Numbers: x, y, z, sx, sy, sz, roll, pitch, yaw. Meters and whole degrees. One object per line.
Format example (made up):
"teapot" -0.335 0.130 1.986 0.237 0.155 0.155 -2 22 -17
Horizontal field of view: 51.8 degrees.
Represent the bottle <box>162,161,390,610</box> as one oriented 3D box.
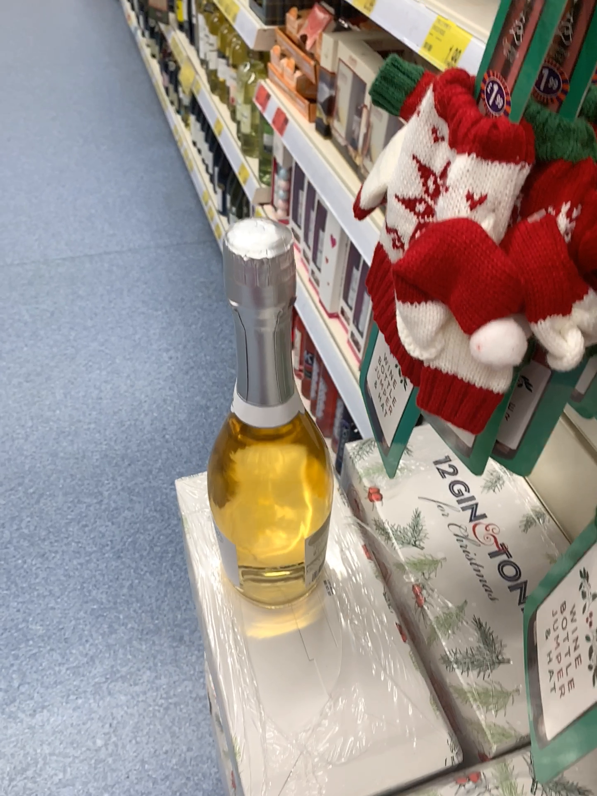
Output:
"bottle" -0.016 0.019 0.393 0.095 0.299 0.095 2 45 -2
